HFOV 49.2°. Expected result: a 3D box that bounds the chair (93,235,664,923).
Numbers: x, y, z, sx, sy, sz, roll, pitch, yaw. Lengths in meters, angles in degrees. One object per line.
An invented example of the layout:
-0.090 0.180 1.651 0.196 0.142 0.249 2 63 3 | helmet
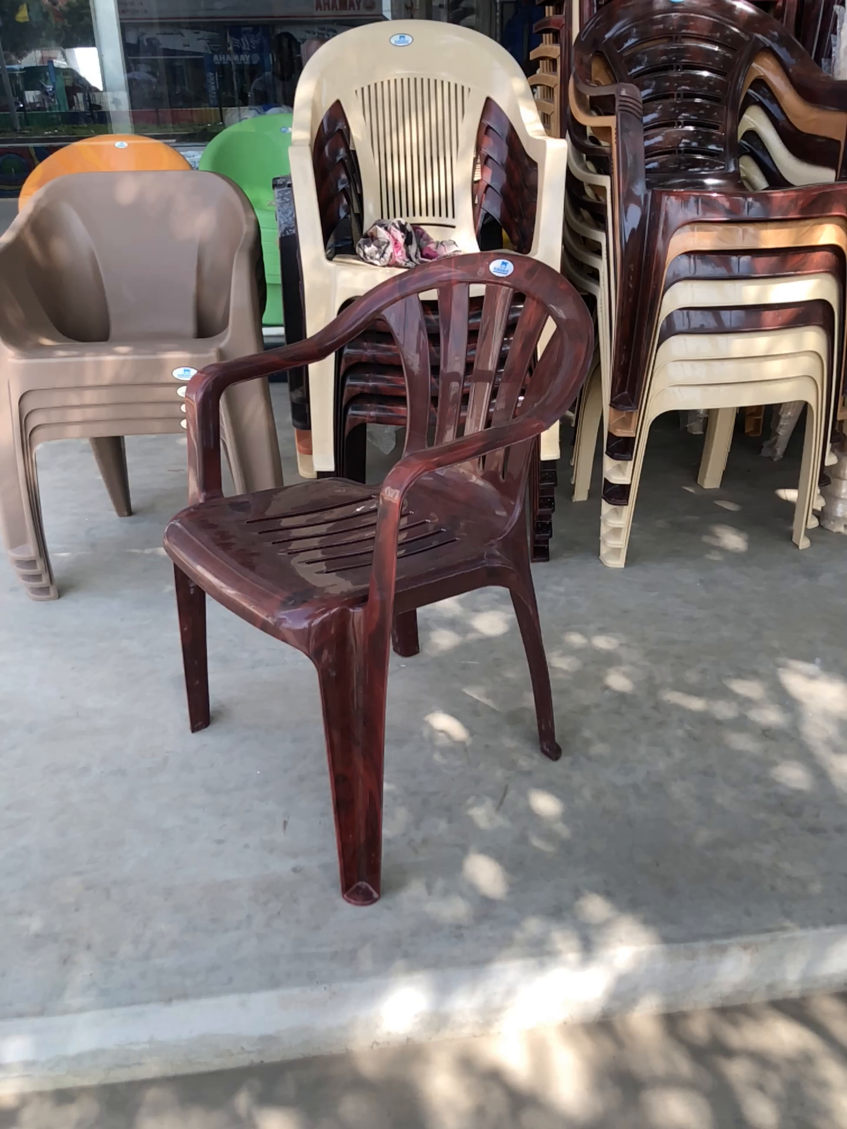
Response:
-0.071 -0.048 1.399 0.522 0.766 0.581 -20 31 -34 | chair
